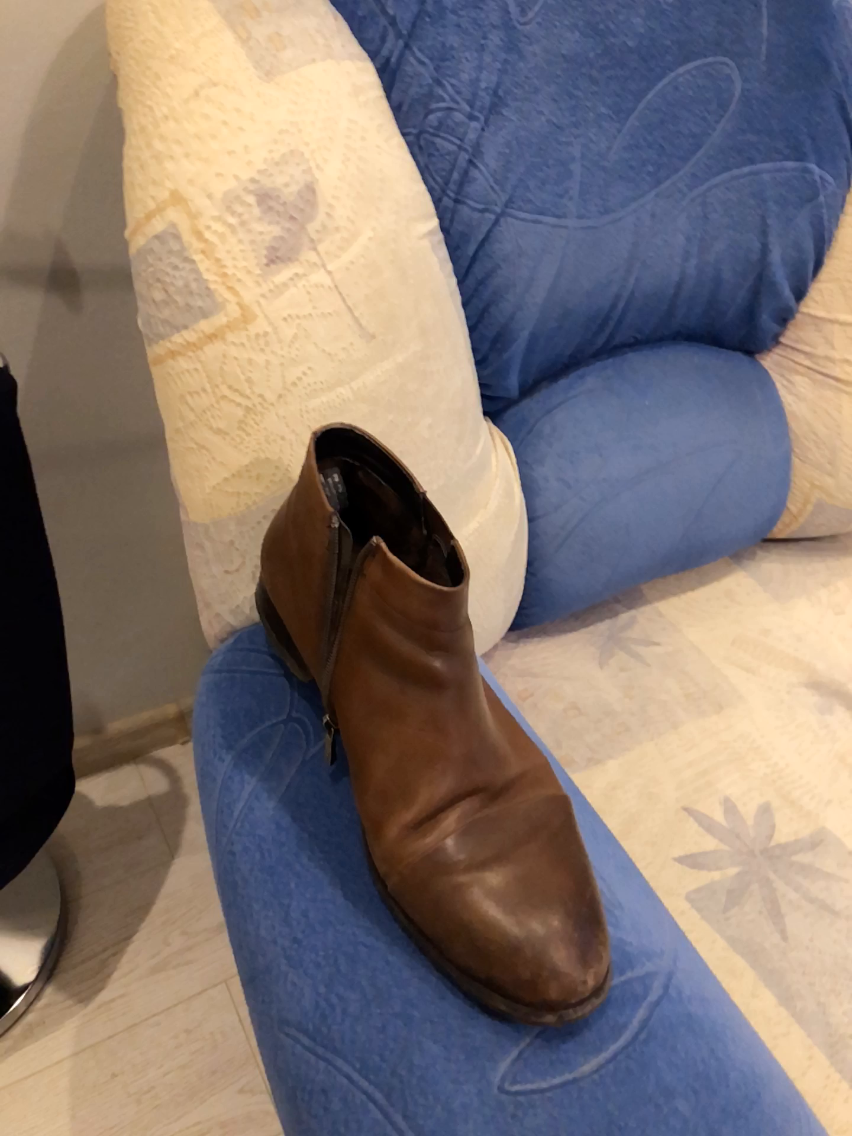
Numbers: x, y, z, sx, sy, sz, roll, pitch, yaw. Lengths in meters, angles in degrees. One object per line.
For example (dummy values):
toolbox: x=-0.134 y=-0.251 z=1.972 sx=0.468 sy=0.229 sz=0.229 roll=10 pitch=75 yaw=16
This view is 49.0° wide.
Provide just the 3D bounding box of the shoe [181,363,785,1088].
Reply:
shoe: x=-0.004 y=0.049 z=0.453 sx=0.110 sy=0.139 sz=0.311 roll=-19 pitch=49 yaw=-26
